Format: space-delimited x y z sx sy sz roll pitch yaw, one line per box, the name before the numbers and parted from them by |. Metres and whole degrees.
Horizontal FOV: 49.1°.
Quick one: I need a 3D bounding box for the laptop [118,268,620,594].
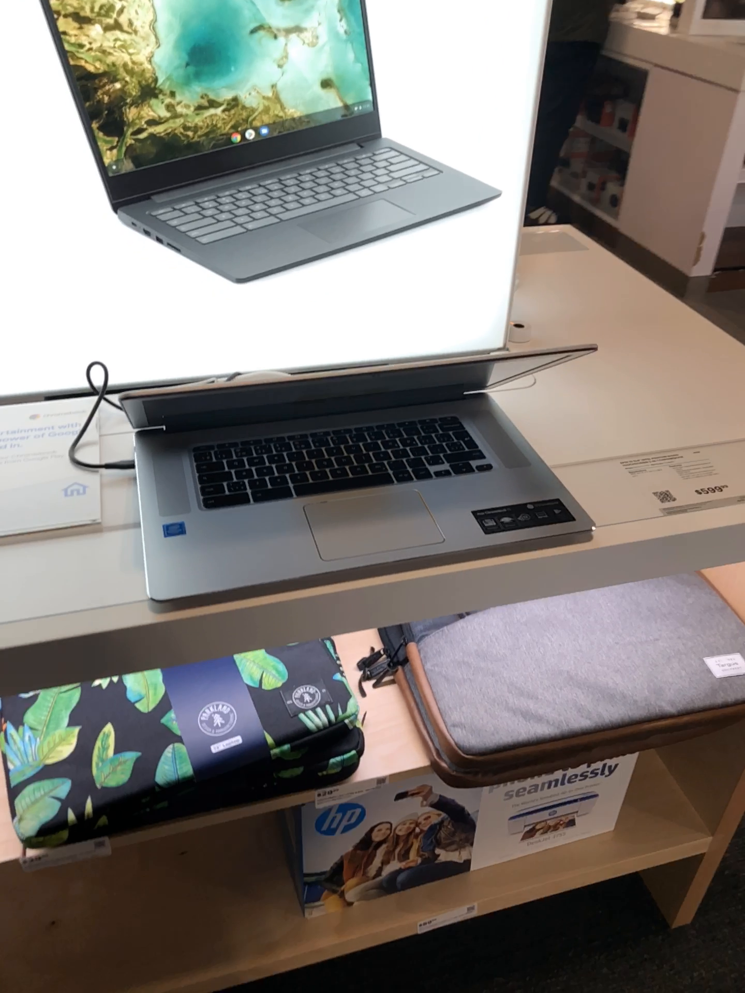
laptop | -0.016 -0.077 0.713 0.365 0.146 0.231 -8 38 -17
